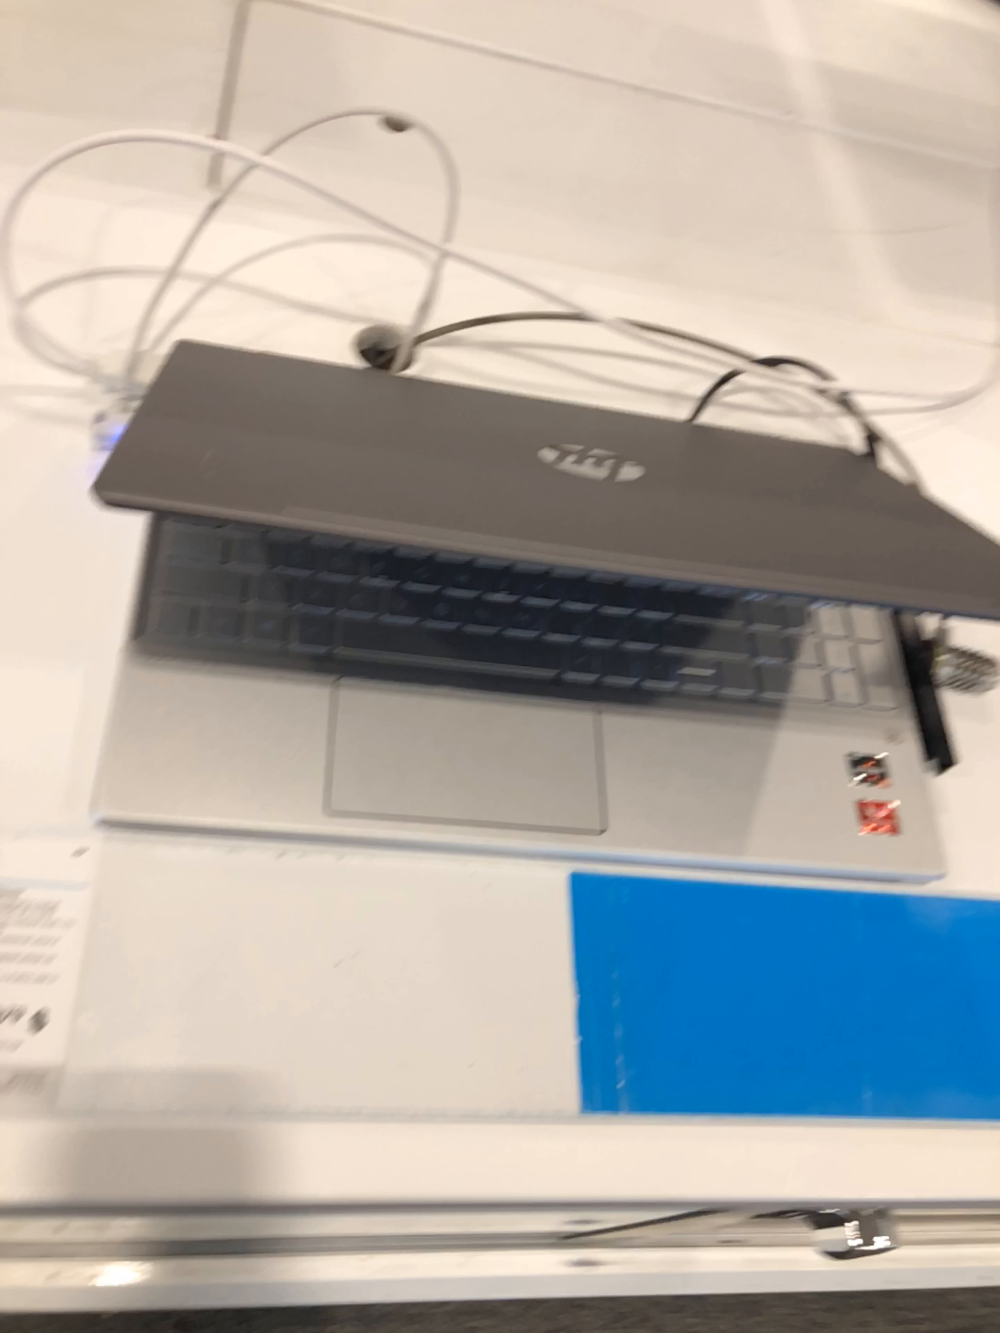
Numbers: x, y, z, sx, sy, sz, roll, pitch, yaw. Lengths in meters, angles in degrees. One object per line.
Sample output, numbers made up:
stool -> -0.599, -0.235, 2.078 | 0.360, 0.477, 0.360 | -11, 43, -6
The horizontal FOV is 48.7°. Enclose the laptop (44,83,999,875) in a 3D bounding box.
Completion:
laptop -> 0.034, -0.062, 0.438 | 0.350, 0.134, 0.231 | 7, 59, -12
